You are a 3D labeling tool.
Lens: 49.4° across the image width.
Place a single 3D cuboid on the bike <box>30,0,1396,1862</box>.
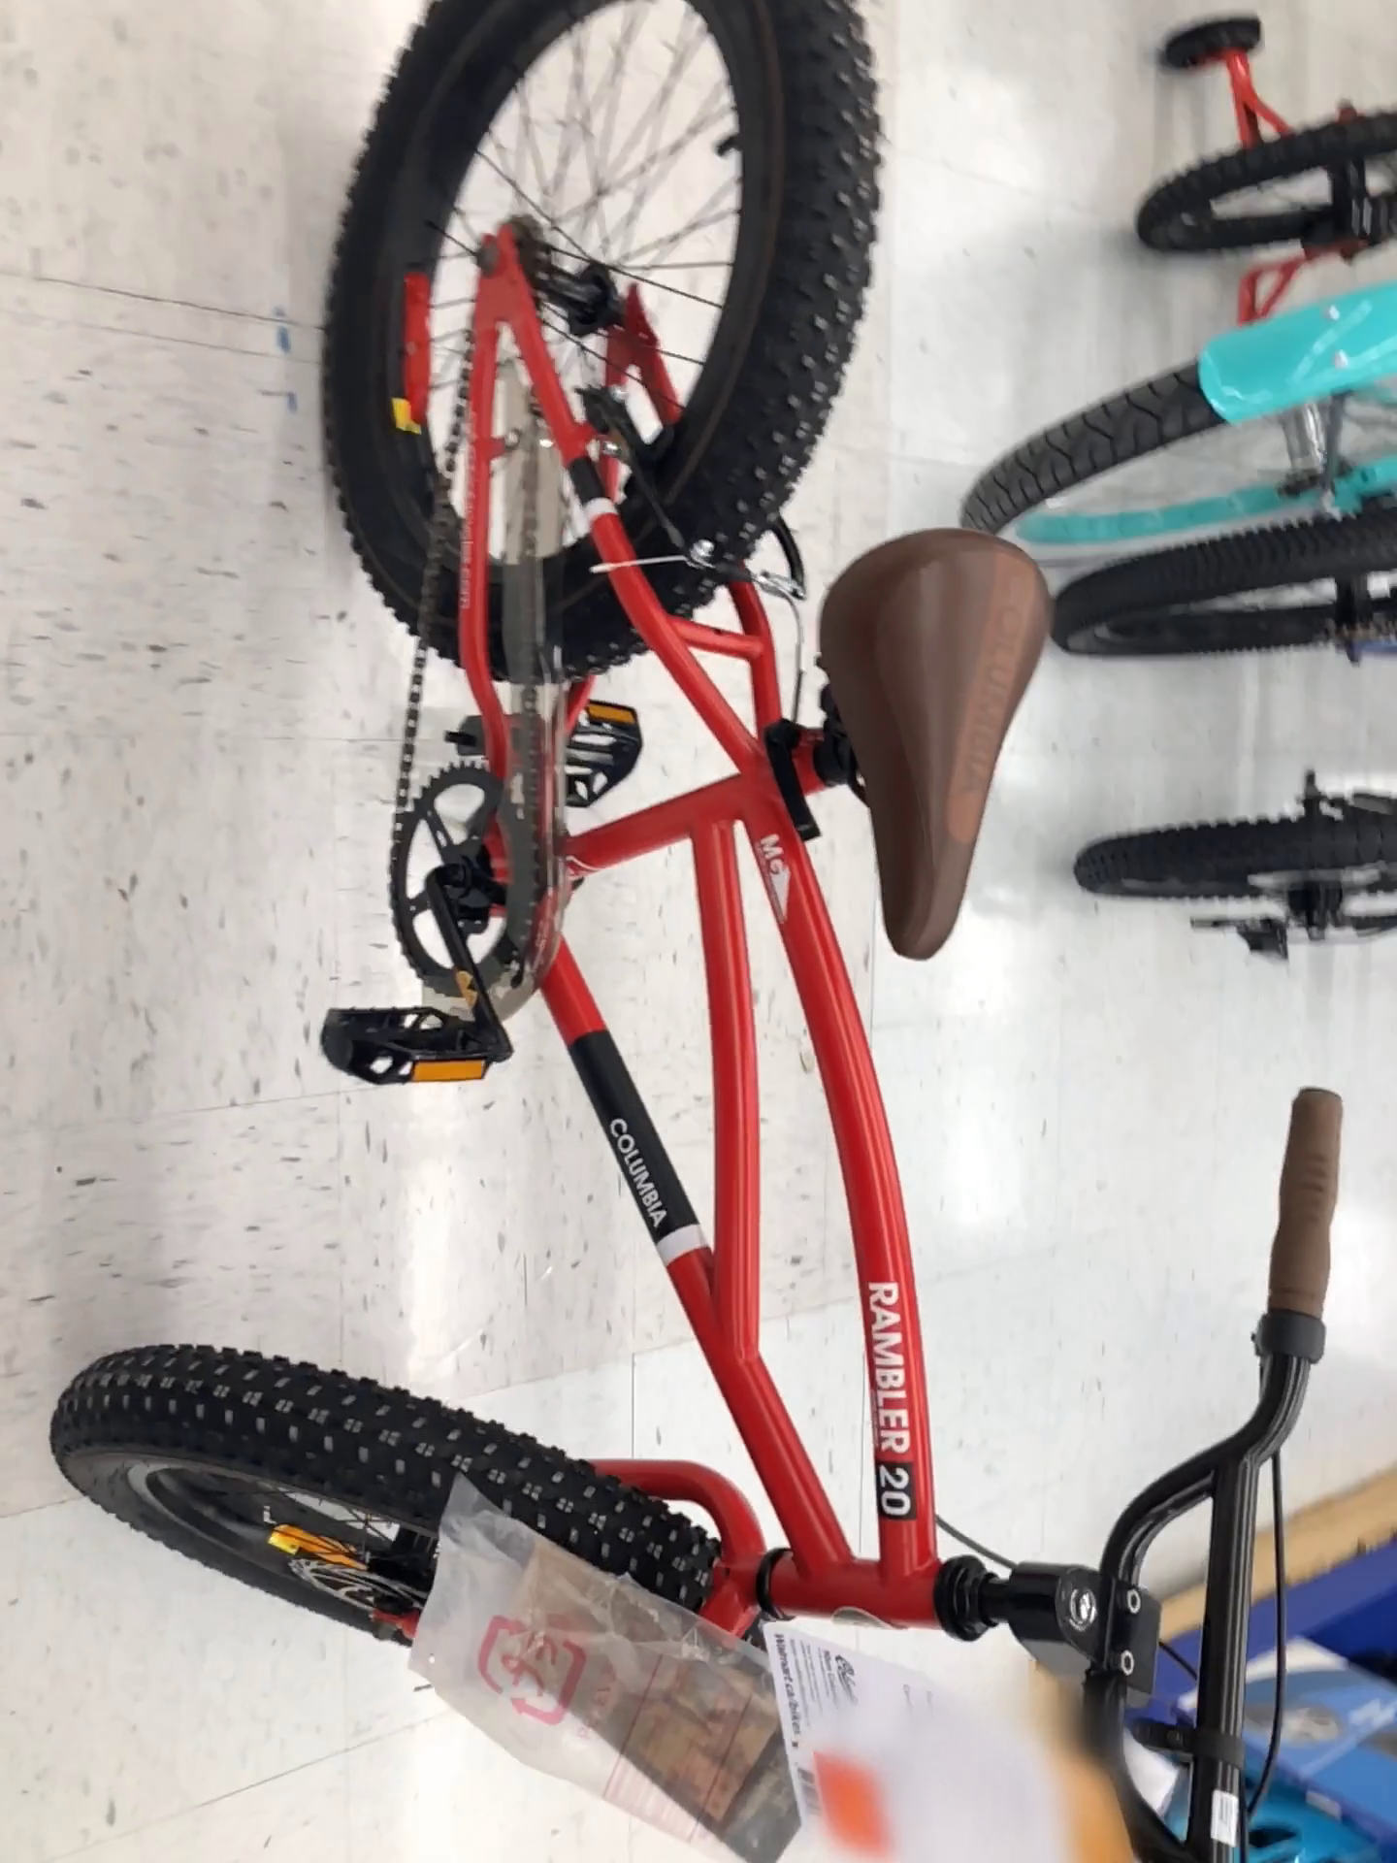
[{"bbox_3d":[0.003,-0.023,1.010,0.610,0.969,1.357,-5,102,-34],"label":"bike"}]
